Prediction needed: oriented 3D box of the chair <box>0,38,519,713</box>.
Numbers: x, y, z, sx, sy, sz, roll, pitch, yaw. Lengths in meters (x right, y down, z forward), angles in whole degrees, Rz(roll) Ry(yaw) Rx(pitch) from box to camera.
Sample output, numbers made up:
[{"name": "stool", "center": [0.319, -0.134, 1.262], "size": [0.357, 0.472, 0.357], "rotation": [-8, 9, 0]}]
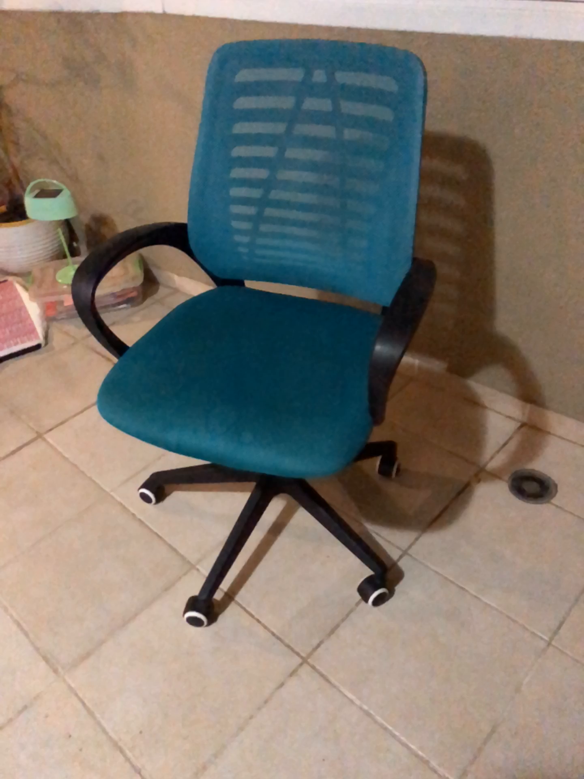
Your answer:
[{"name": "chair", "center": [-0.057, -0.085, 1.234], "size": [0.711, 0.923, 0.745], "rotation": [13, 41, 22]}]
